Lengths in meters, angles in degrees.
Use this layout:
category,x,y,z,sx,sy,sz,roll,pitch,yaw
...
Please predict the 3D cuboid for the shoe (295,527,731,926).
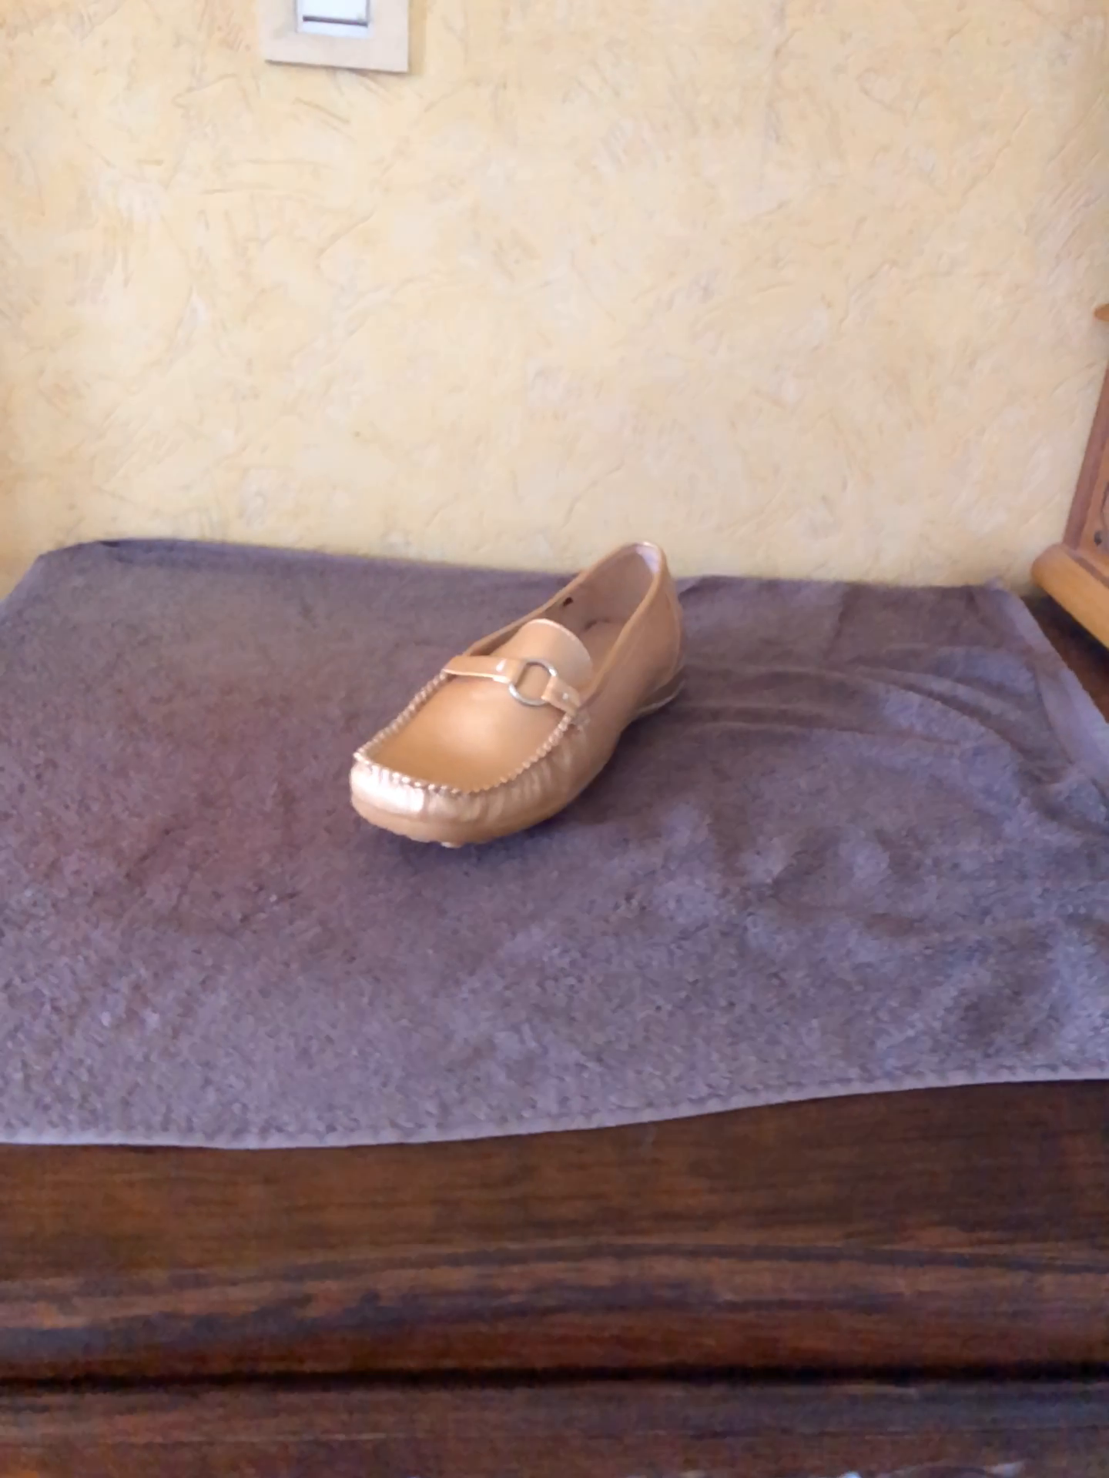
category,x,y,z,sx,sy,sz,roll,pitch,yaw
shoe,-0.007,-0.022,0.592,0.080,0.080,0.262,18,31,24
